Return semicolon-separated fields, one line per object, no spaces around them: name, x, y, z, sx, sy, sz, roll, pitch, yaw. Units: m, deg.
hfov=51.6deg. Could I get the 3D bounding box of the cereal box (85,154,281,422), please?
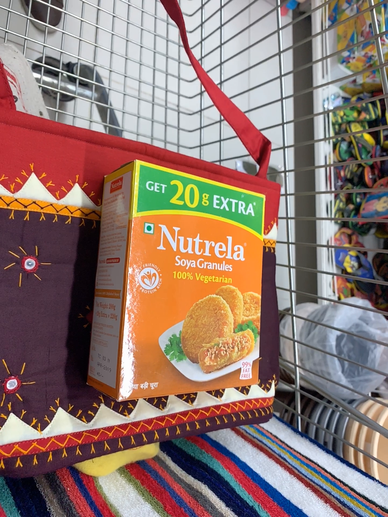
cereal box;-0.003;0.022;0.283;0.120;0.060;0.150;7;82;-35
